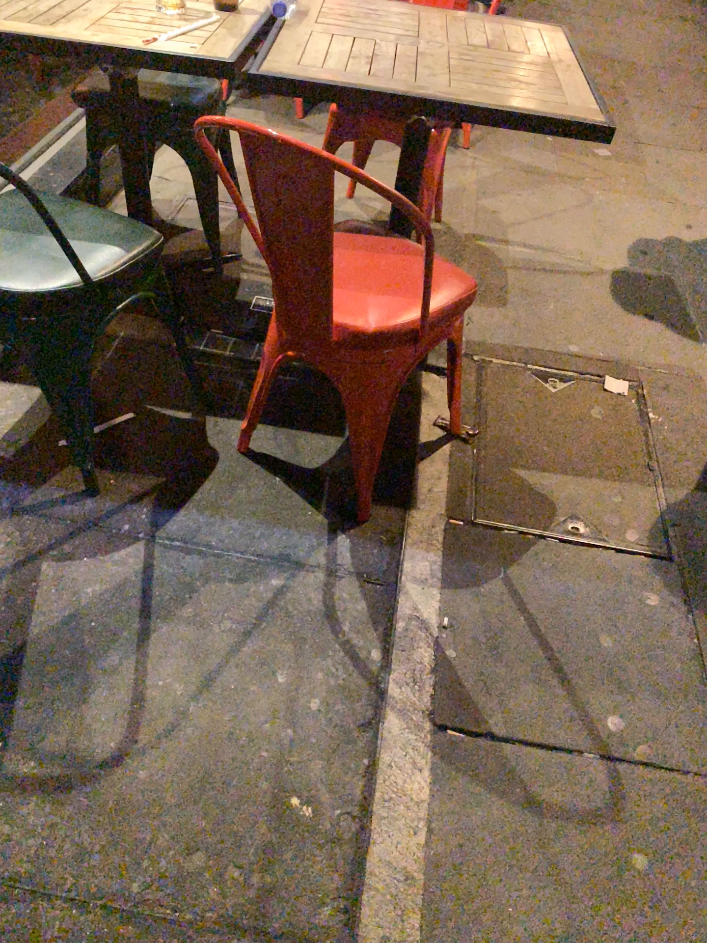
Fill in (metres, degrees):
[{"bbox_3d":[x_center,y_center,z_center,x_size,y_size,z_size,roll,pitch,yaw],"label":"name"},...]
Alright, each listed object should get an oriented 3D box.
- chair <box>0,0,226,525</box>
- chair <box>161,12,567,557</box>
[{"bbox_3d":[-0.584,-0.404,1.393,0.431,0.832,0.514,28,54,12],"label":"chair"},{"bbox_3d":[0.010,-0.347,1.423,0.431,0.812,0.513,29,50,21],"label":"chair"}]
